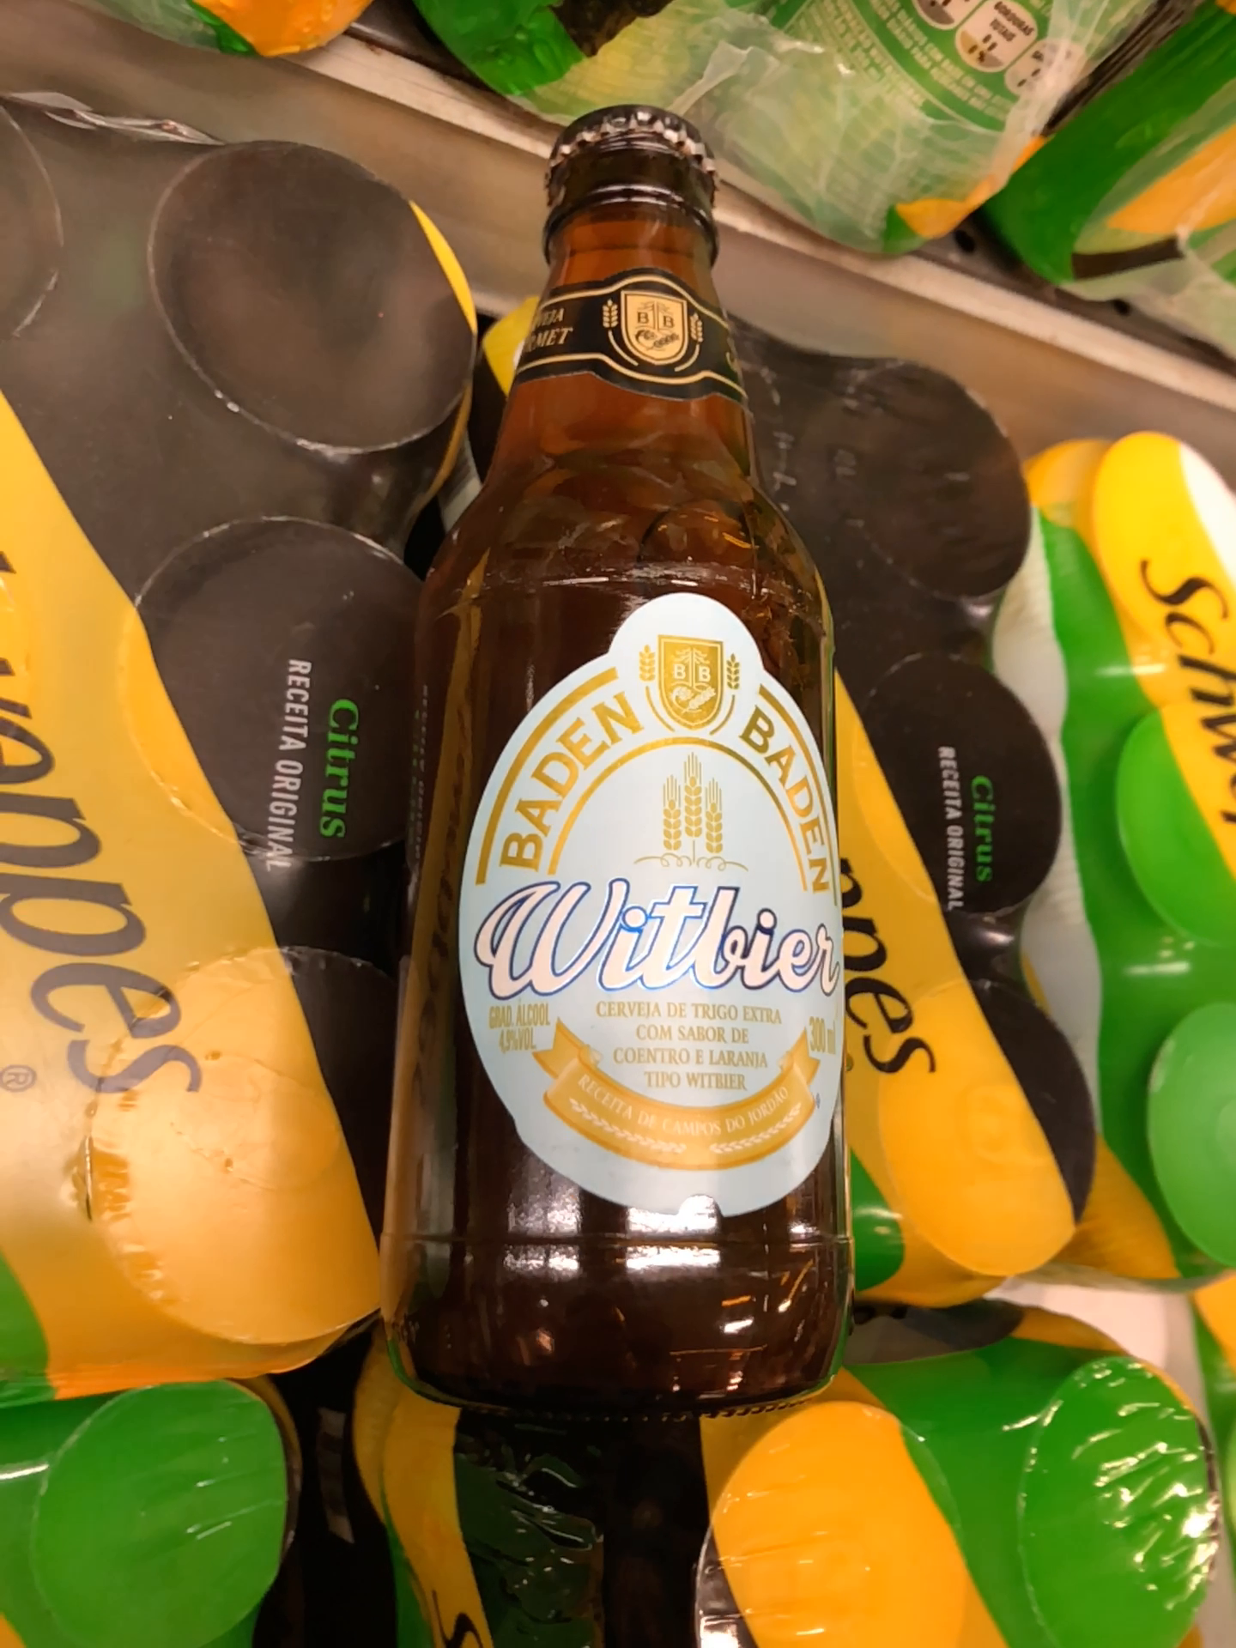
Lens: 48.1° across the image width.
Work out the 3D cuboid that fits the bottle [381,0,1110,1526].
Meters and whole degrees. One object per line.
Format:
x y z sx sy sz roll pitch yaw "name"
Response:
0.018 -0.021 0.195 0.070 0.060 0.200 9 77 -29 "bottle"
